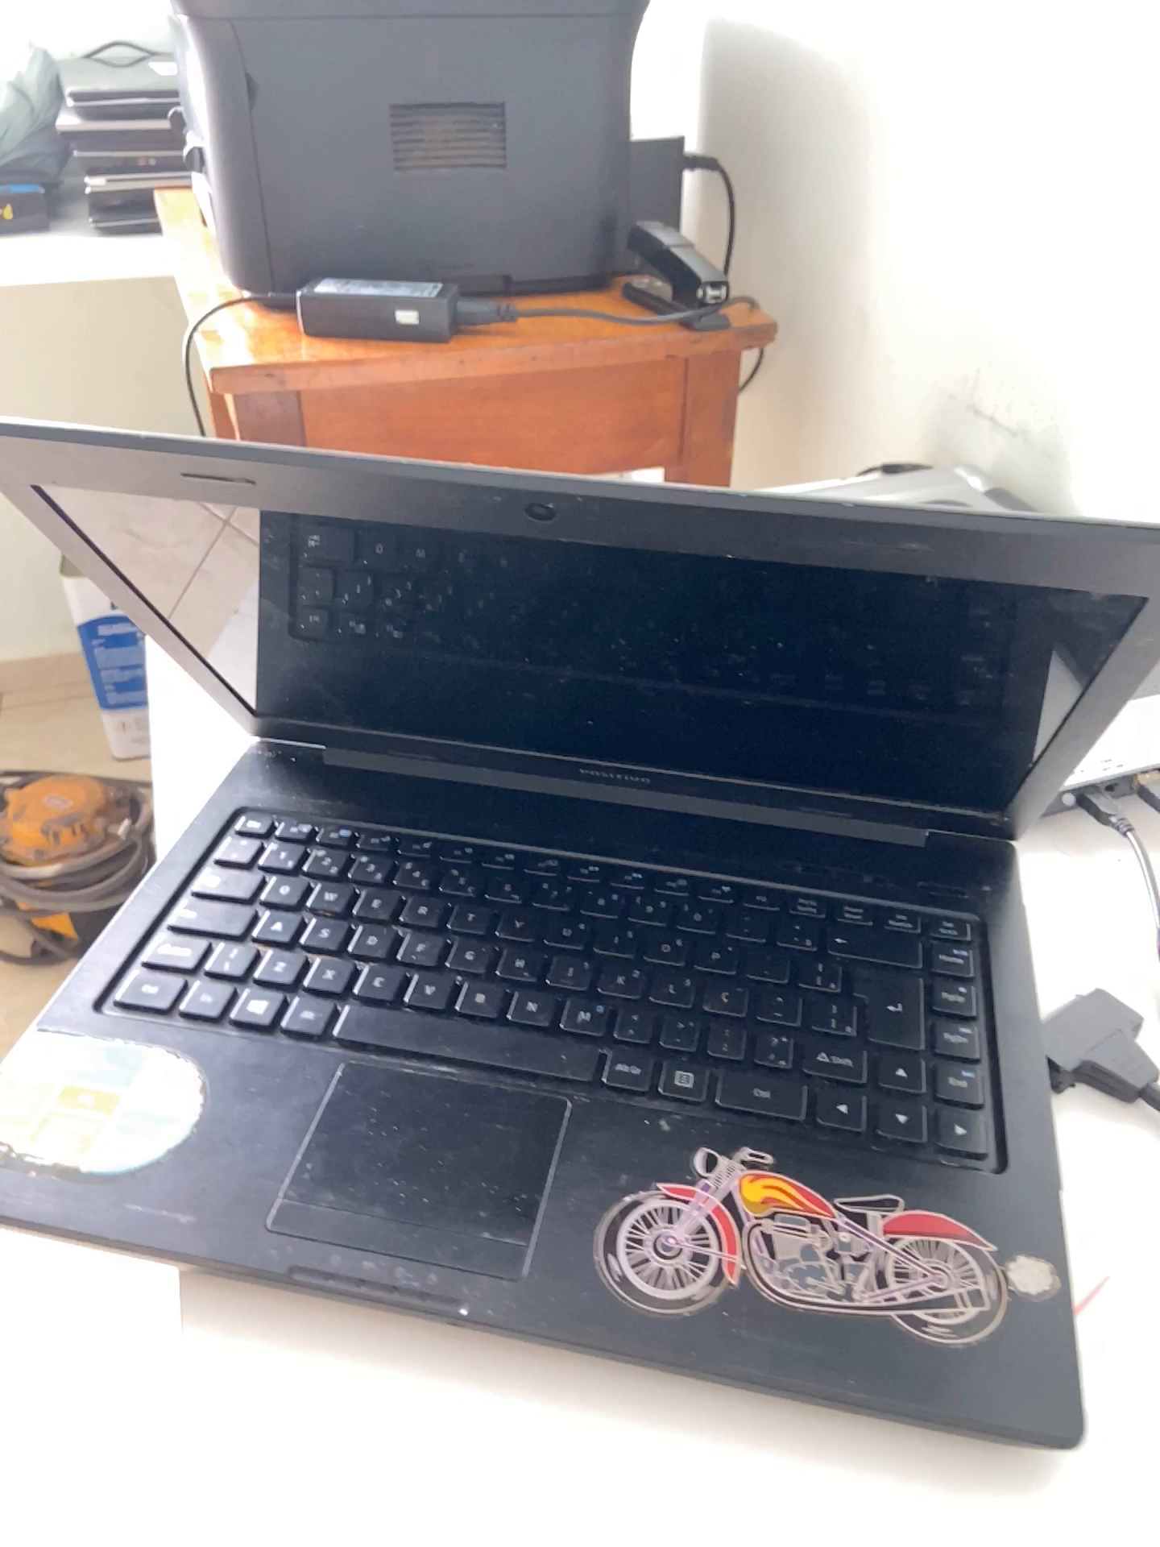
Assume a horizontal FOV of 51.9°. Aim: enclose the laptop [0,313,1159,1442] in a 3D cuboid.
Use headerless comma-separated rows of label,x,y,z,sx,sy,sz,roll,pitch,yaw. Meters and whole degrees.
laptop,-0.011,0.000,0.364,0.330,0.189,0.234,7,37,10
